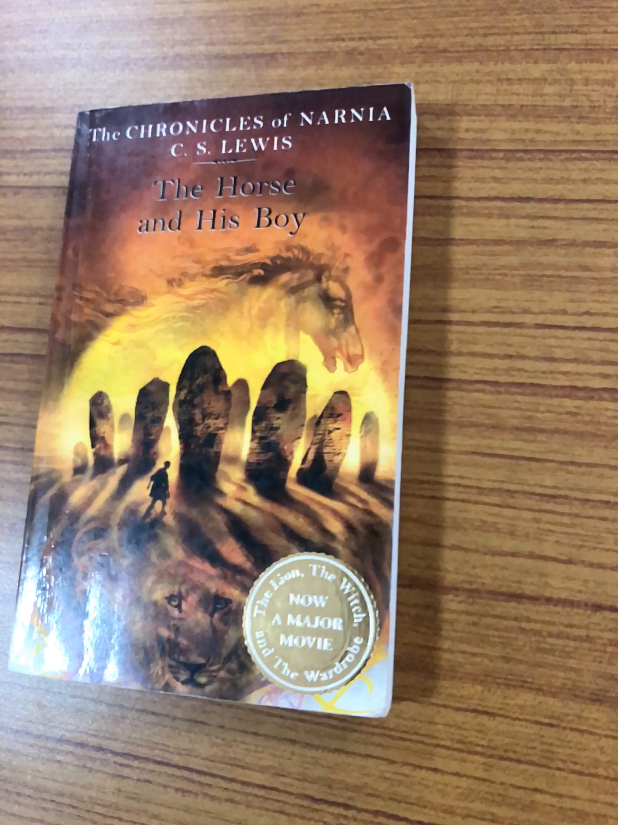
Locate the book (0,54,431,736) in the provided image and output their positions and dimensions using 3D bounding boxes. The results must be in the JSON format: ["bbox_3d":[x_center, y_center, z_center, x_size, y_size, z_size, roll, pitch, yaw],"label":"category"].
[{"bbox_3d":[-0.029,-0.011,0.205,0.120,0.020,0.180,2,81,13],"label":"book"}]
